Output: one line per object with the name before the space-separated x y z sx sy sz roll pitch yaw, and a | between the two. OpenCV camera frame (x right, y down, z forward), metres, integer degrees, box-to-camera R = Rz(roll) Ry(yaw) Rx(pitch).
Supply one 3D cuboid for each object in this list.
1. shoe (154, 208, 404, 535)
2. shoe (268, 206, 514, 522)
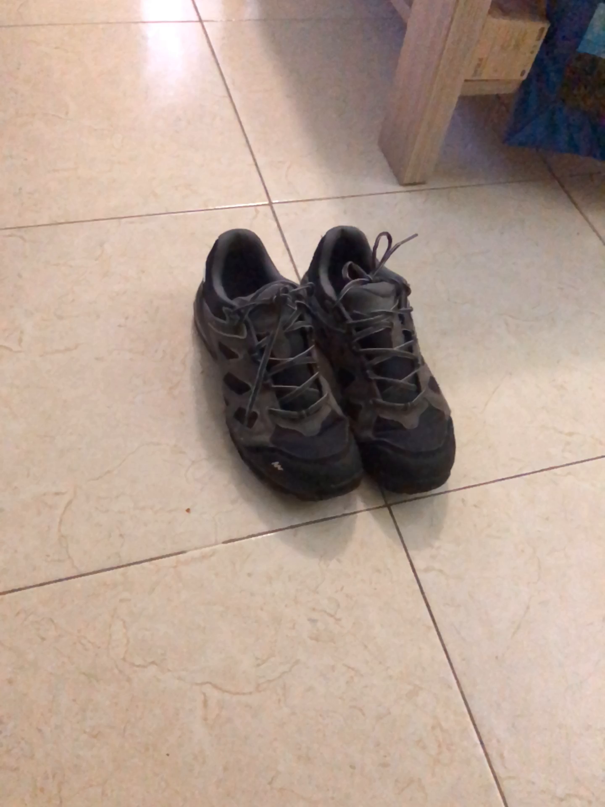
shoe | -0.039 -0.044 0.683 0.120 0.110 0.310 -18 61 -20
shoe | 0.073 -0.053 0.700 0.120 0.110 0.311 -13 59 -17
